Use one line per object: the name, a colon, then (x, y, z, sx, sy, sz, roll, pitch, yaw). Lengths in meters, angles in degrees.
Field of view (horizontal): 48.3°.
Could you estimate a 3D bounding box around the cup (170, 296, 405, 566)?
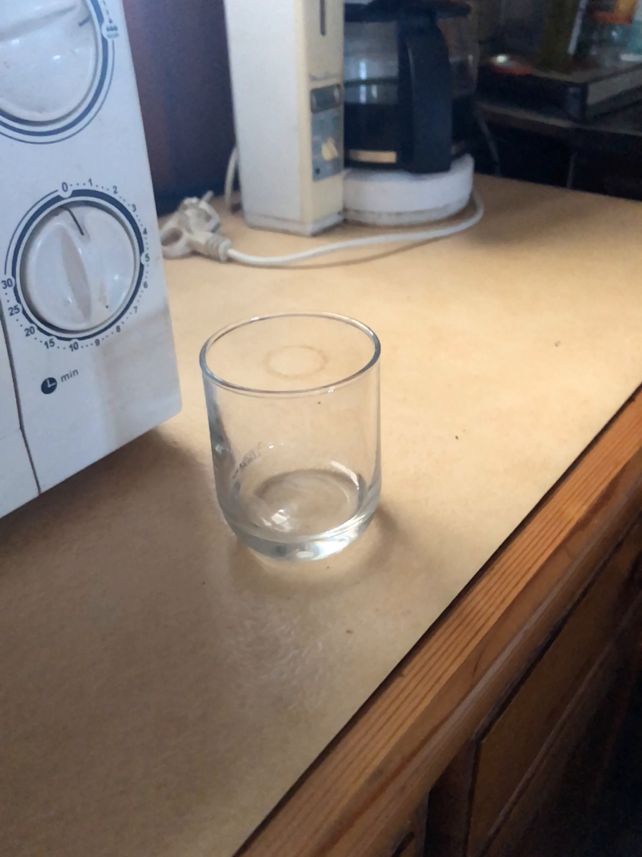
cup: (-0.007, -0.002, 0.270, 0.070, 0.070, 0.070, -1, 34, 1)
